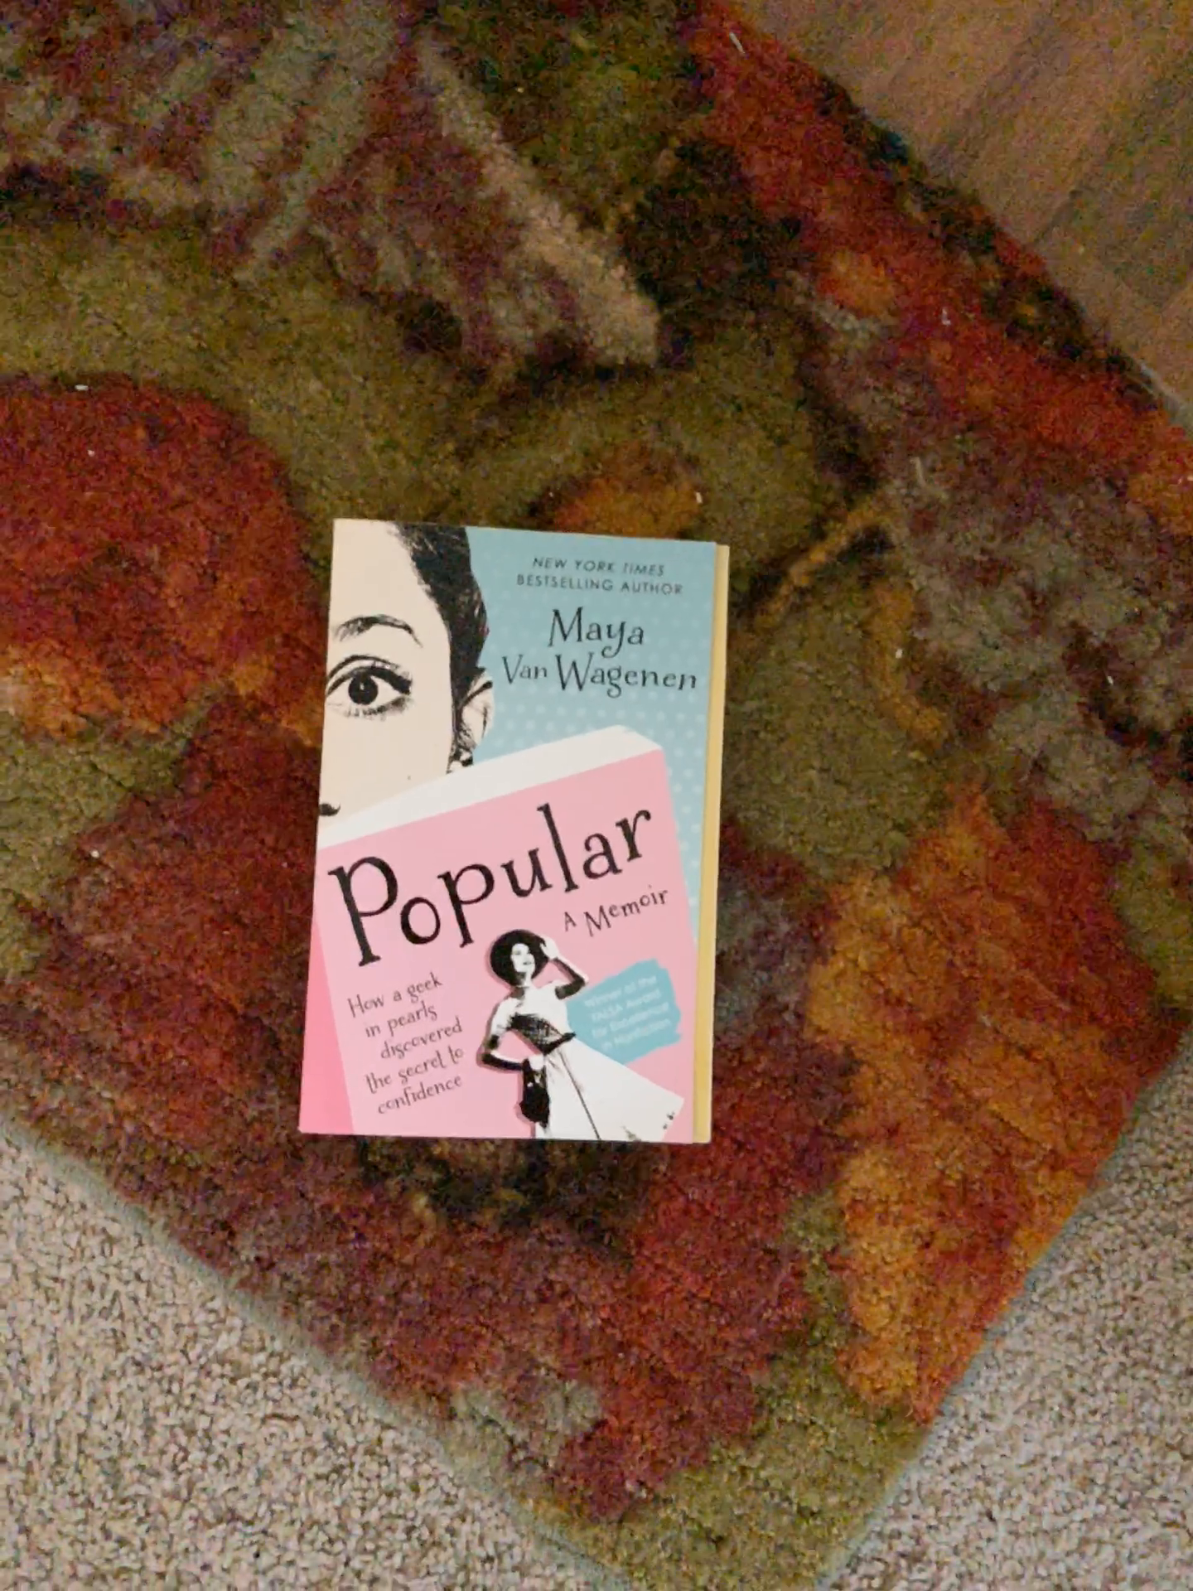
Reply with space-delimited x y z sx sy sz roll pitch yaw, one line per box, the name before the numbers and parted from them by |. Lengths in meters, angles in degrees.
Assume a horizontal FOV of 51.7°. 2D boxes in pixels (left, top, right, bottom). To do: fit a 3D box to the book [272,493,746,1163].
book | -0.028 0.011 0.430 0.150 0.030 0.220 2 86 -4
